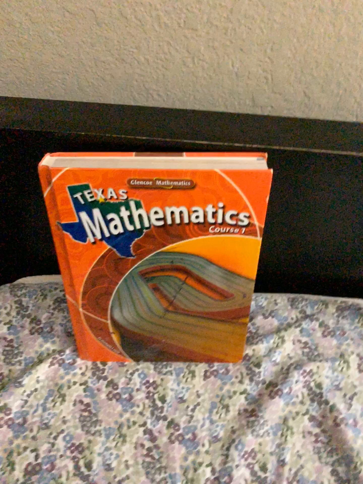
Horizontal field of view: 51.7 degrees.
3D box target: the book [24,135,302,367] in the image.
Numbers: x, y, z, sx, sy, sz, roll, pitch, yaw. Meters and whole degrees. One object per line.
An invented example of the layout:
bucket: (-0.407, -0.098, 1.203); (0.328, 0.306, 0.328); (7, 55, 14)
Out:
book: (-0.018, 0.033, 0.425); (0.230, 0.299, 0.050); (0, 39, -3)
